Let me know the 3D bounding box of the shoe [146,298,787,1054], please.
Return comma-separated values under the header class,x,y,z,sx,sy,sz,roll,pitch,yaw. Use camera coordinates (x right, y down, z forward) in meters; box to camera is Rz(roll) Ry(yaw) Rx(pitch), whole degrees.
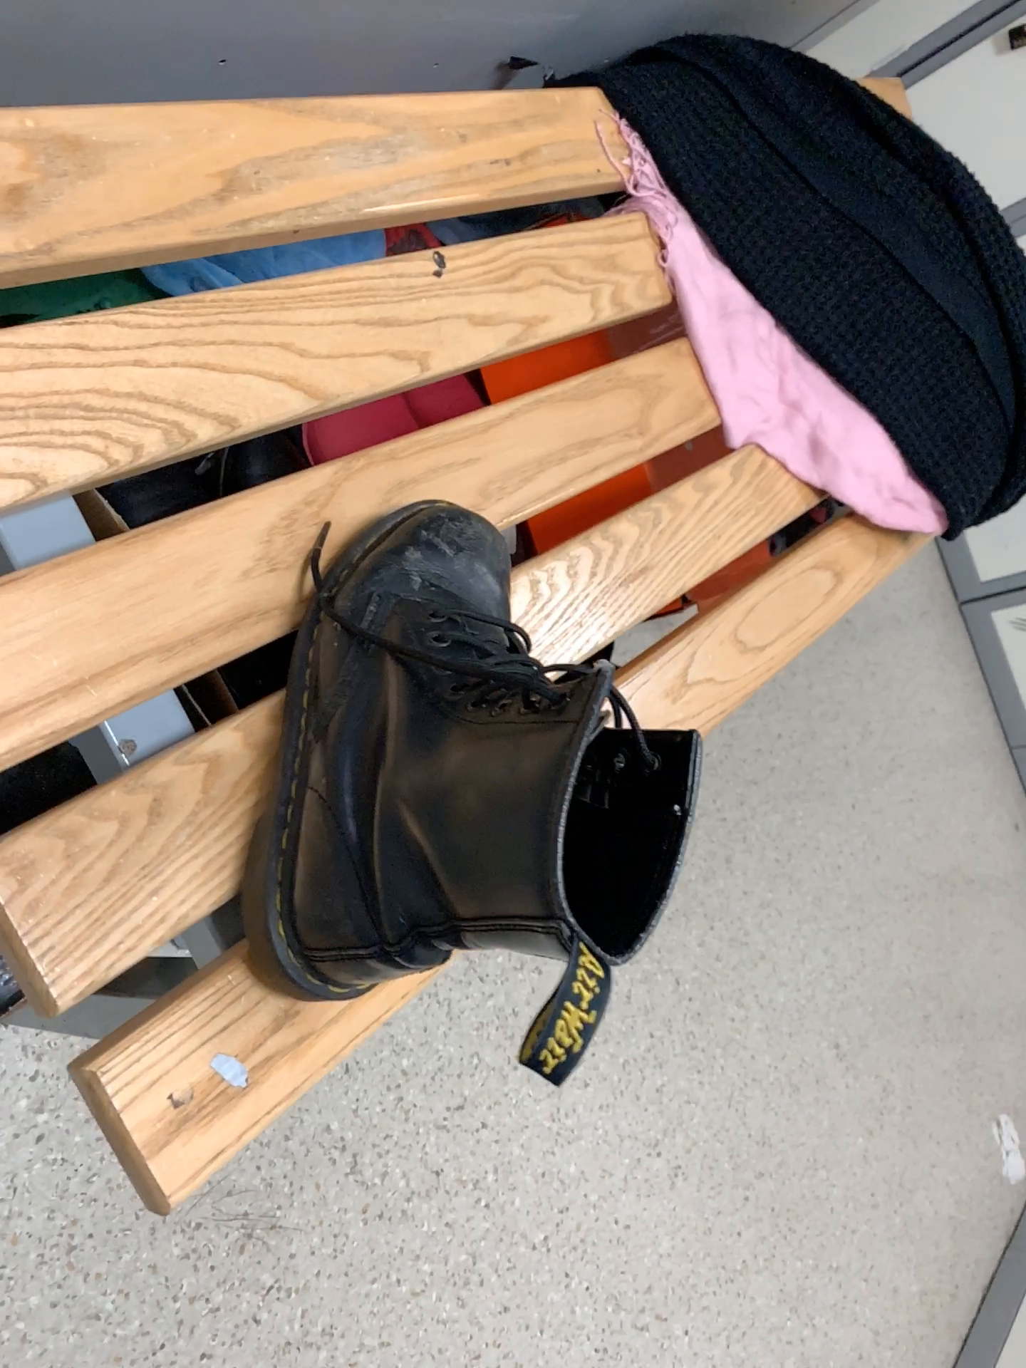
class,x,y,z,sx,sy,sz,roll,pitch,yaw
shoe,-0.015,0.004,0.451,0.107,0.199,0.262,35,57,-31
